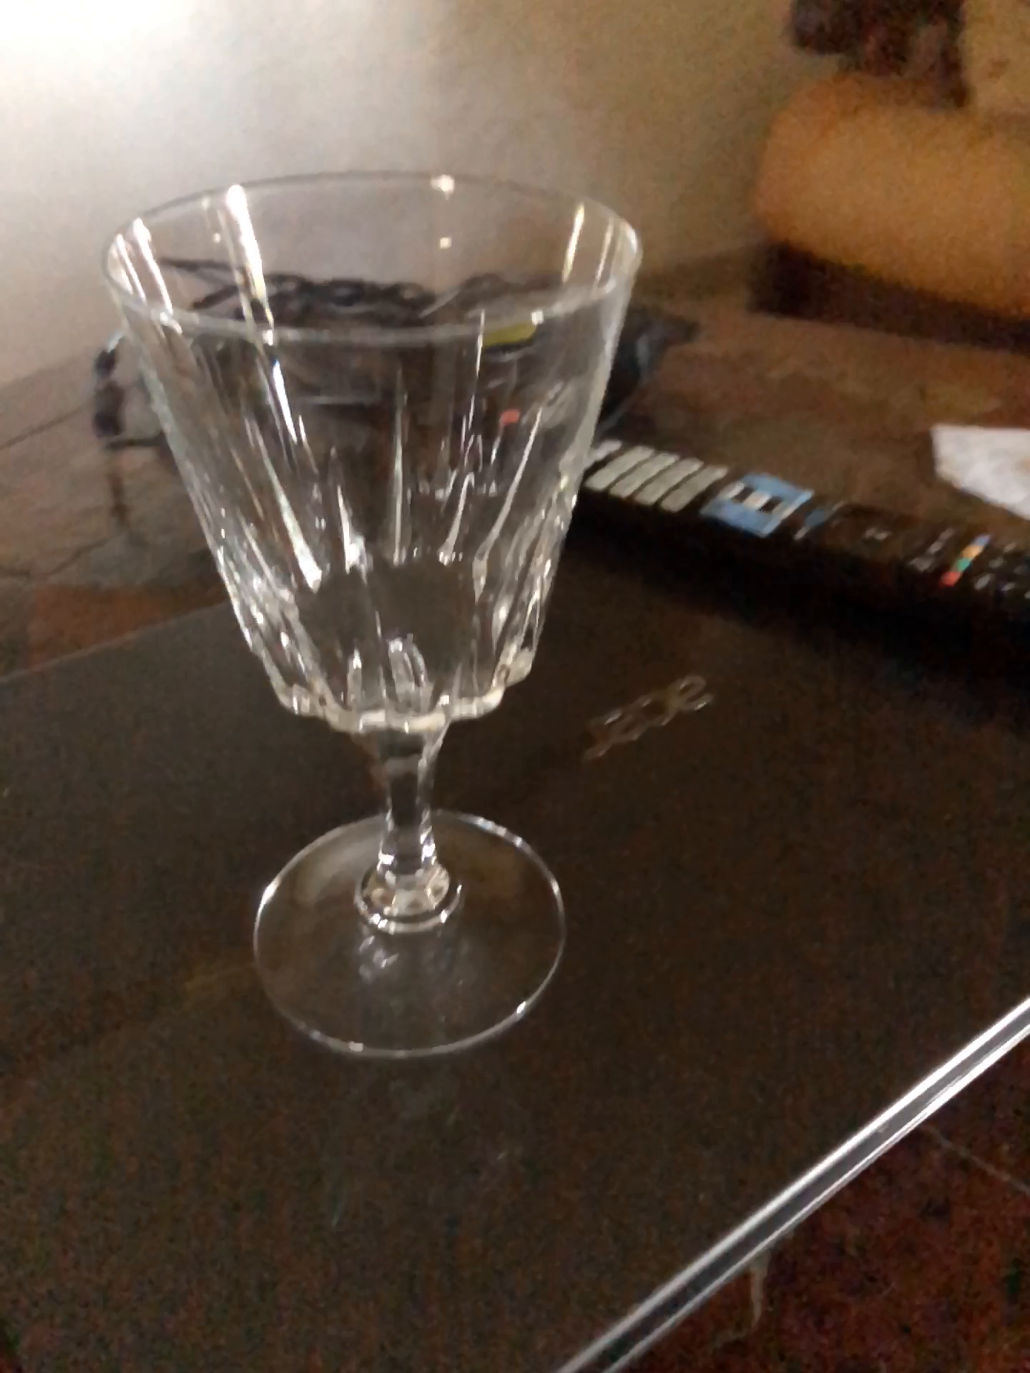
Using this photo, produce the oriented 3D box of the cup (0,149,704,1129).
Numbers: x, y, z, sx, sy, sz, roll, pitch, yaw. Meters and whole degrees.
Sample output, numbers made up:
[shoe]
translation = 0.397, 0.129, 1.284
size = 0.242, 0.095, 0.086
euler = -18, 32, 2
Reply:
[cup]
translation = -0.025, -0.011, 0.234
size = 0.100, 0.159, 0.101
euler = 0, 35, 0
